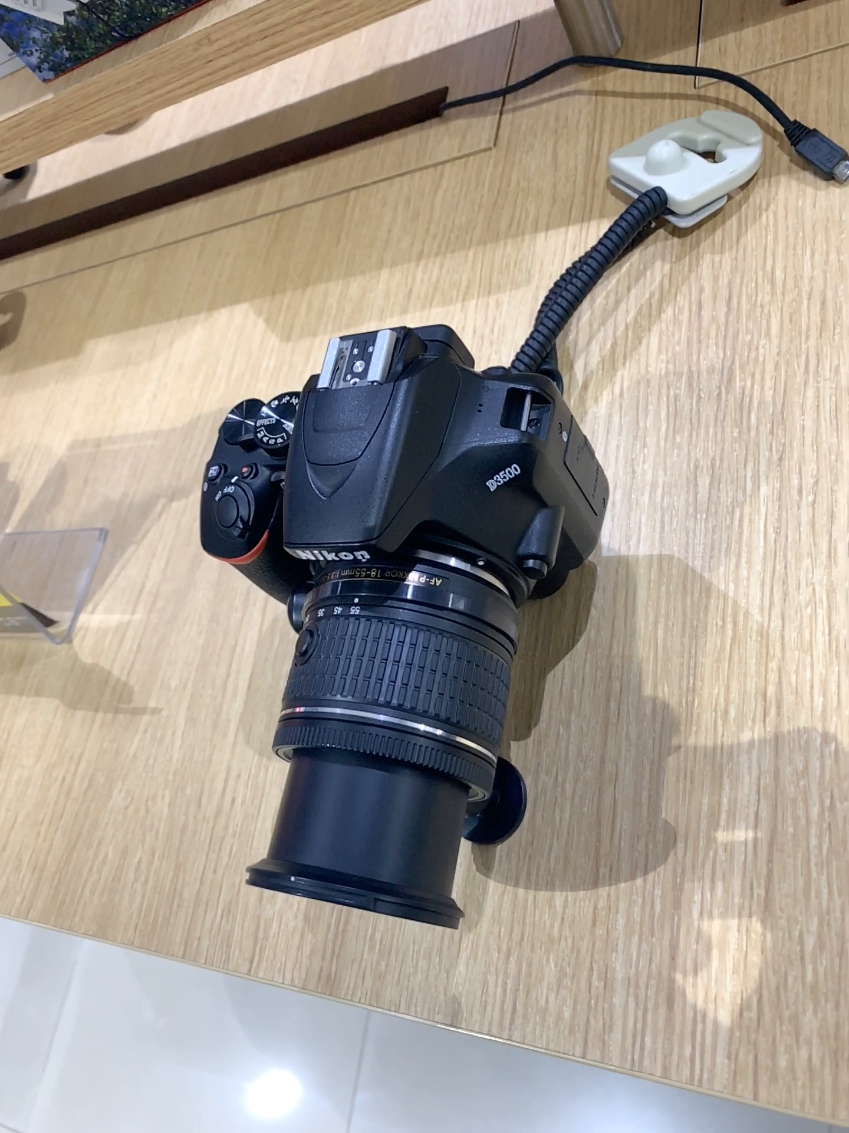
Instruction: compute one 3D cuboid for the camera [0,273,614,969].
[{"bbox_3d":[-0.026,0.021,0.233,0.116,0.100,0.136,-3,65,29],"label":"camera"}]
